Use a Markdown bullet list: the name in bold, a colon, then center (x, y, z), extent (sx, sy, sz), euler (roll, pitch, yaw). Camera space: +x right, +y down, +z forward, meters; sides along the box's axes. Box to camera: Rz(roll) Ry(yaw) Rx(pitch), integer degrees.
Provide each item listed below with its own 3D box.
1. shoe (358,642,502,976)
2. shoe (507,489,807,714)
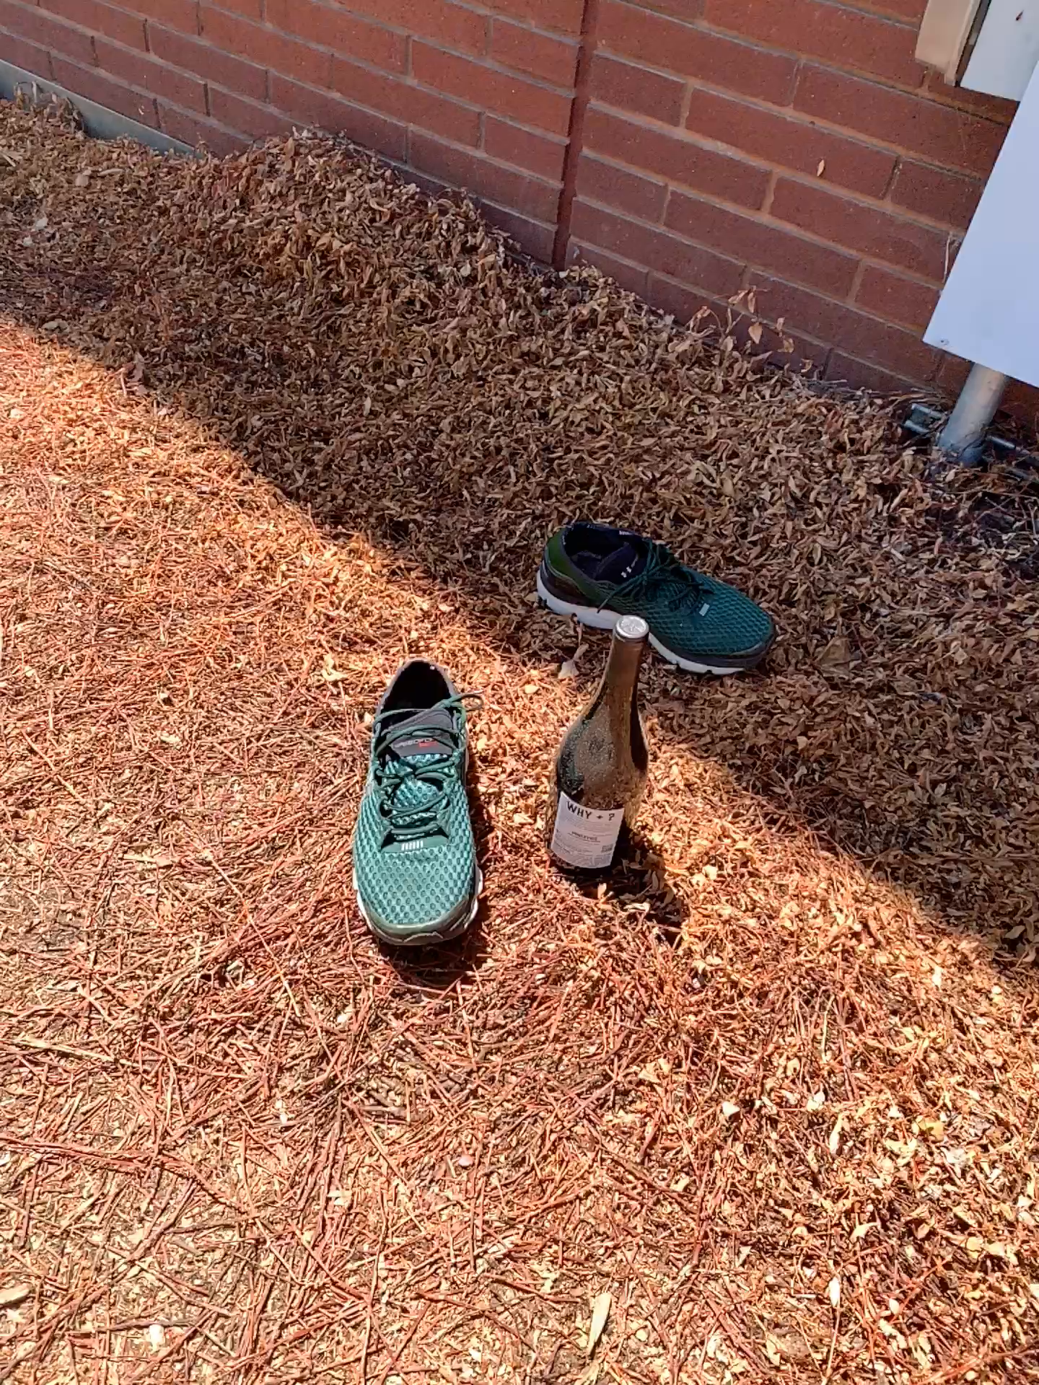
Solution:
- **shoe**: center (-0.077, 0.096, 0.947), extent (0.110, 0.109, 0.281), euler (3, 47, -5)
- **shoe**: center (0.149, -0.106, 1.199), extent (0.300, 0.109, 0.110), euler (23, 49, 13)
